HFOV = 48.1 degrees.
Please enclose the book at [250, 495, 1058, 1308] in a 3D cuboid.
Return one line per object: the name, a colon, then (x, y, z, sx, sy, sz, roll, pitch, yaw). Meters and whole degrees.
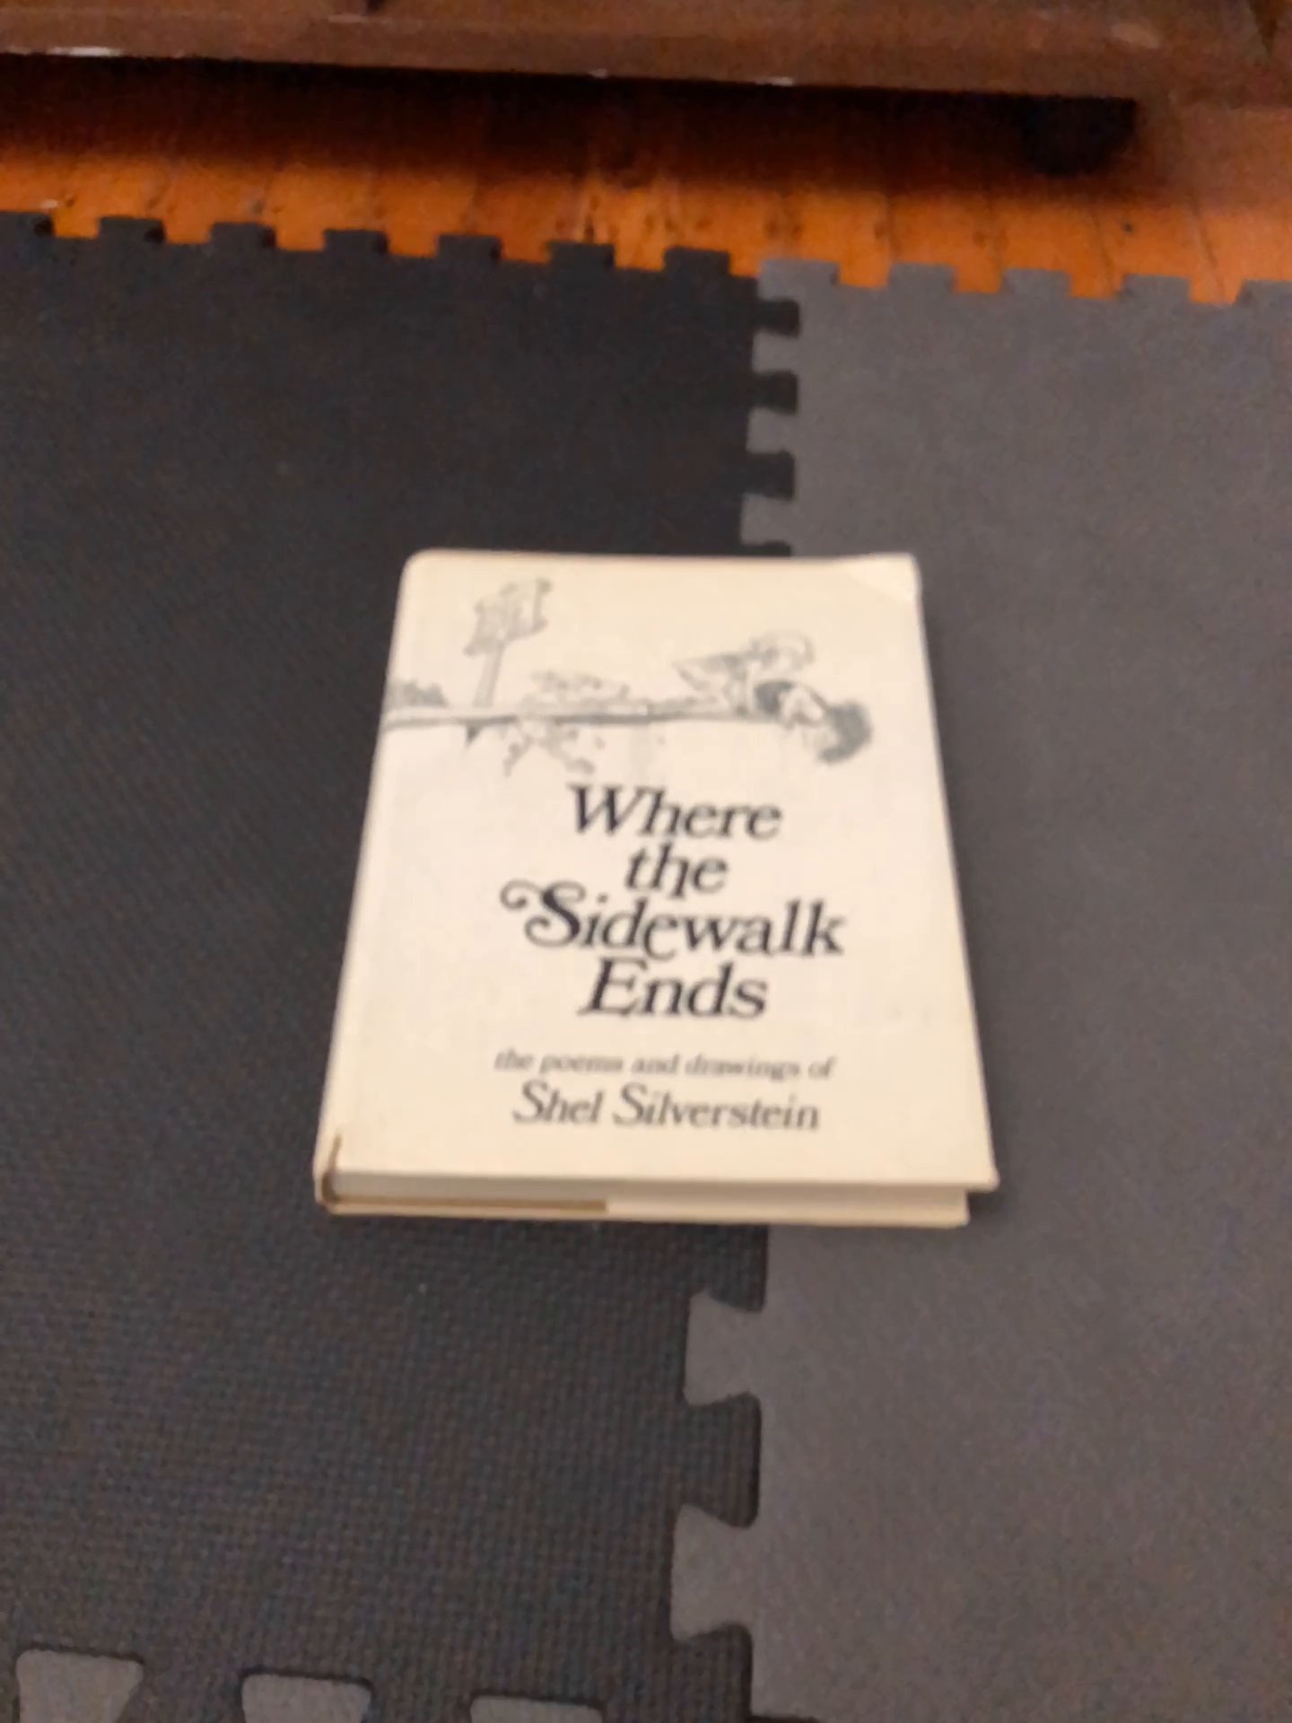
book: (0.006, -0.008, 0.453, 0.200, 0.030, 0.281, 2, 54, 1)
